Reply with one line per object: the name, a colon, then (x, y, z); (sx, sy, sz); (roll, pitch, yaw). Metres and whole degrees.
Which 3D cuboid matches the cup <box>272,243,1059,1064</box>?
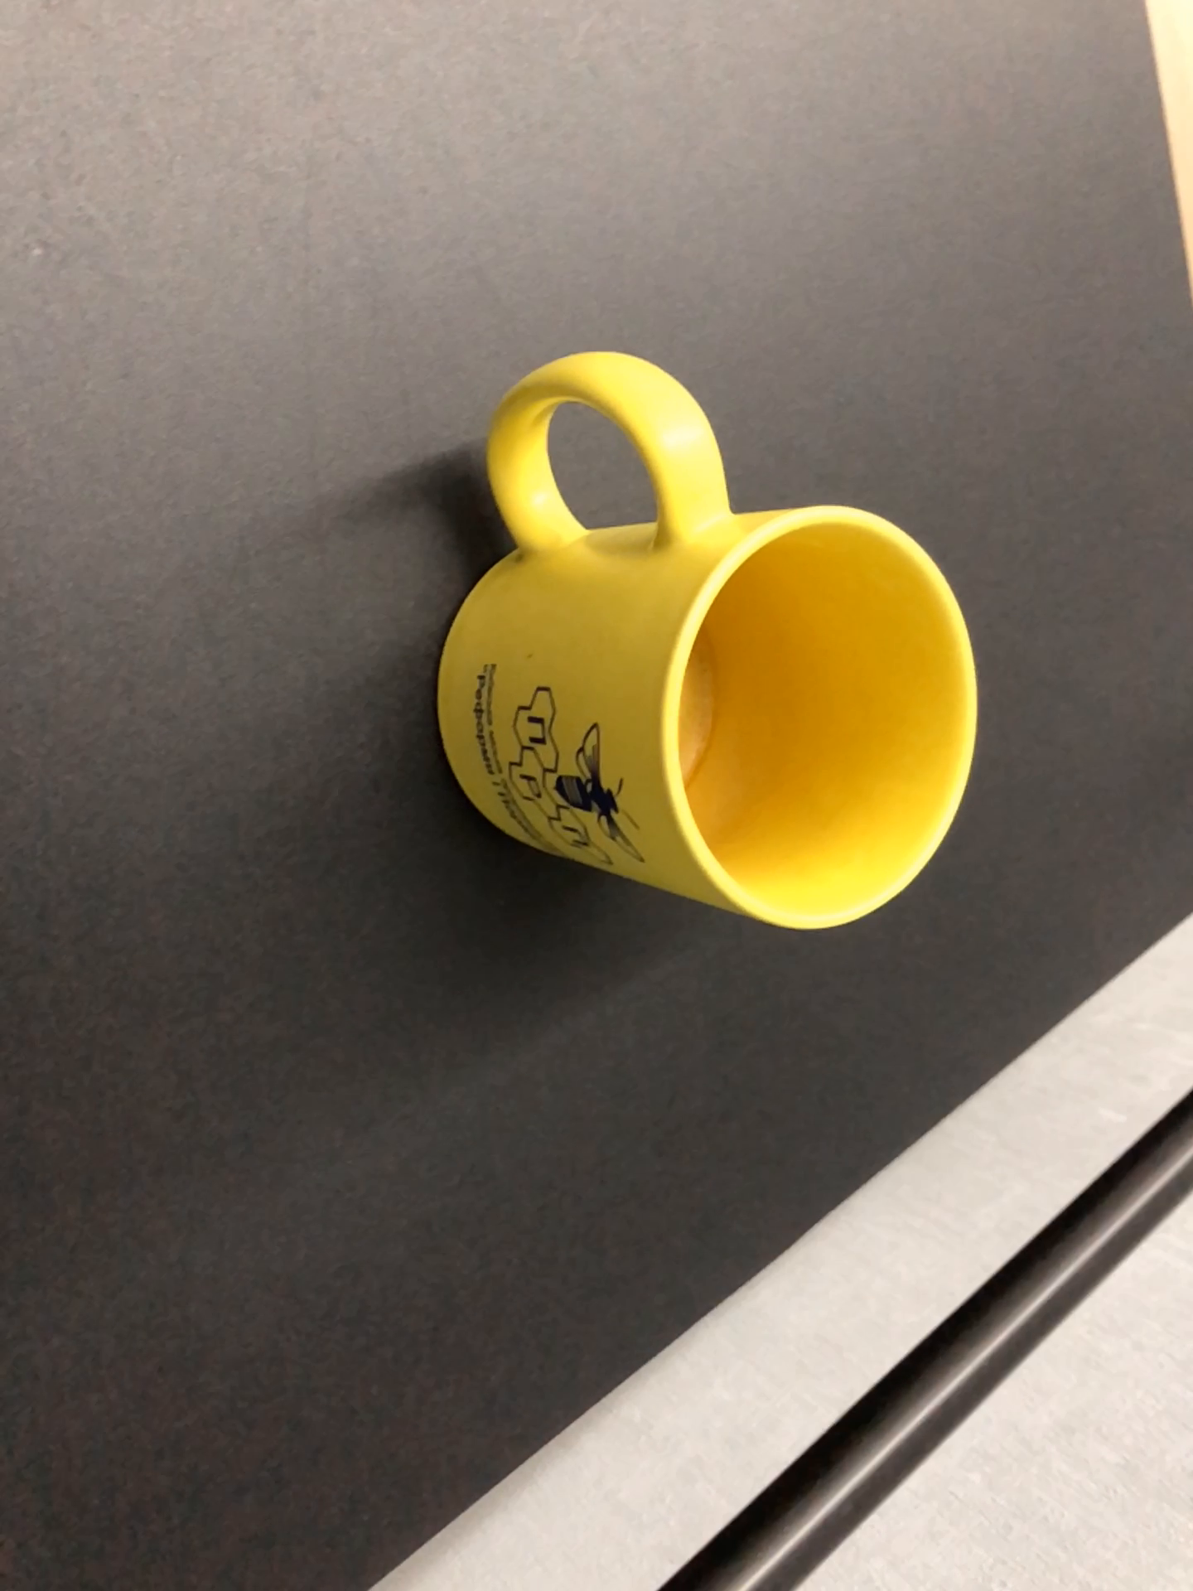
cup: (0.015, -0.031, 0.291); (0.090, 0.101, 0.125); (-38, 116, -23)
